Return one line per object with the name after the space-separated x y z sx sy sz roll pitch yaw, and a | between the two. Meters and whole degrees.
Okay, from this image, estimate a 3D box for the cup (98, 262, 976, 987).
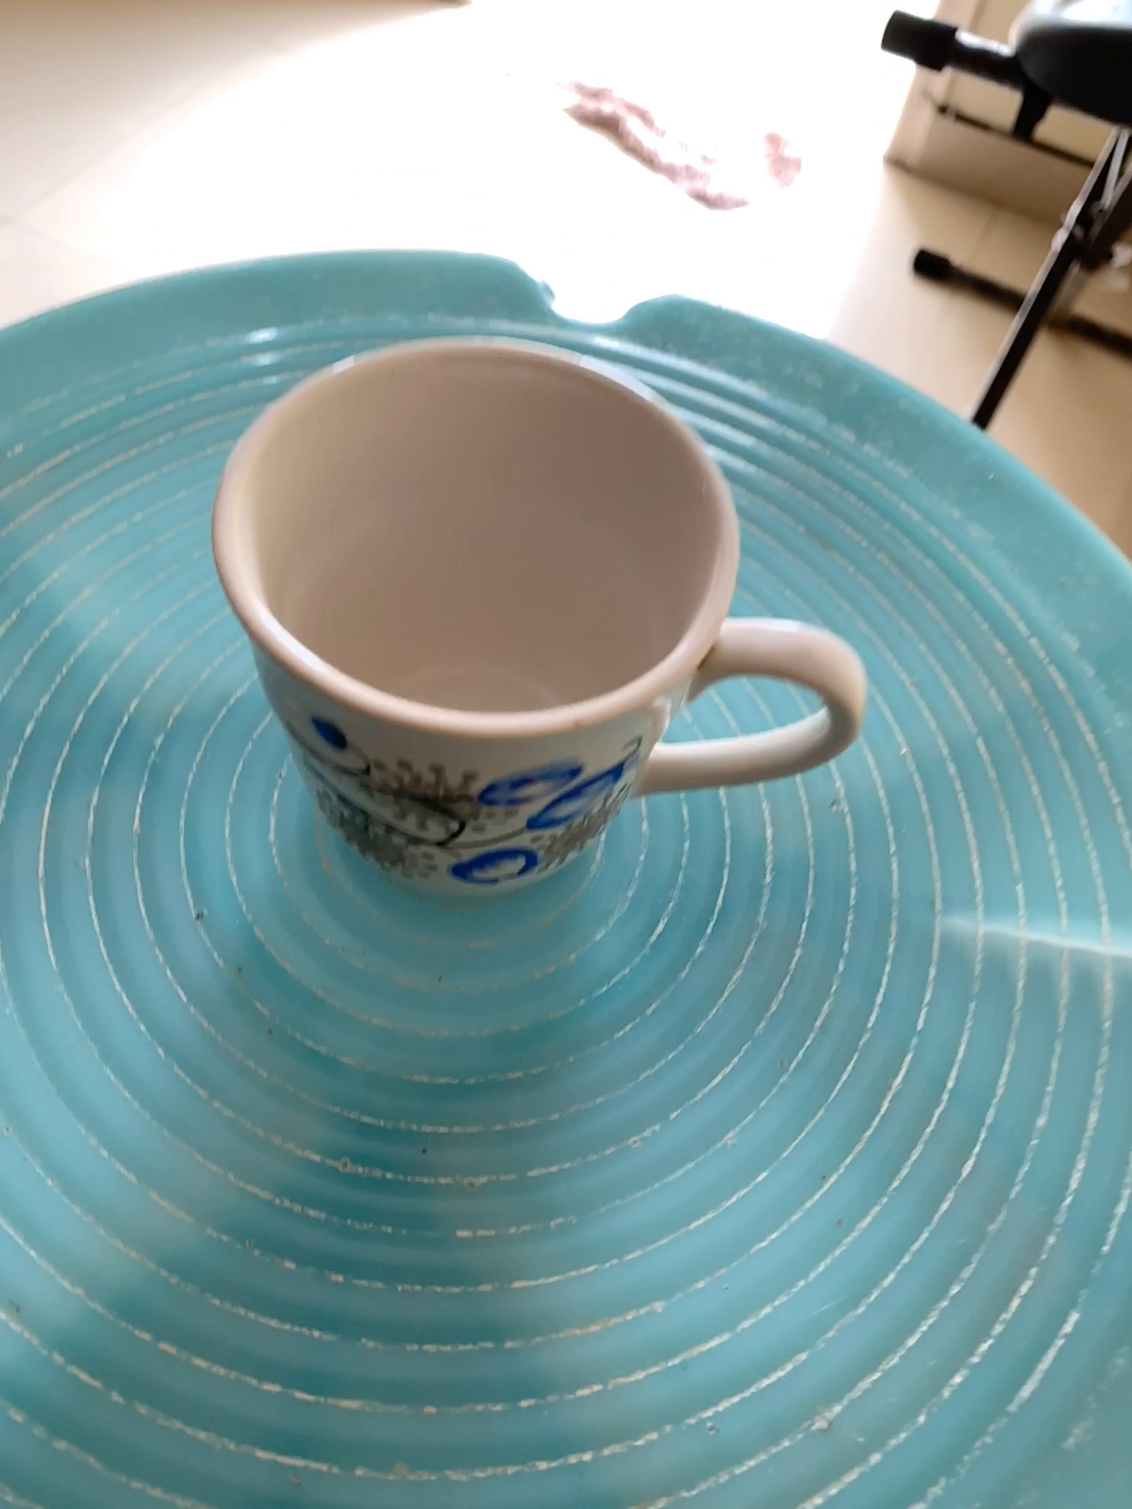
-0.003 -0.016 0.165 0.090 0.060 0.070 5 56 -4 | cup
